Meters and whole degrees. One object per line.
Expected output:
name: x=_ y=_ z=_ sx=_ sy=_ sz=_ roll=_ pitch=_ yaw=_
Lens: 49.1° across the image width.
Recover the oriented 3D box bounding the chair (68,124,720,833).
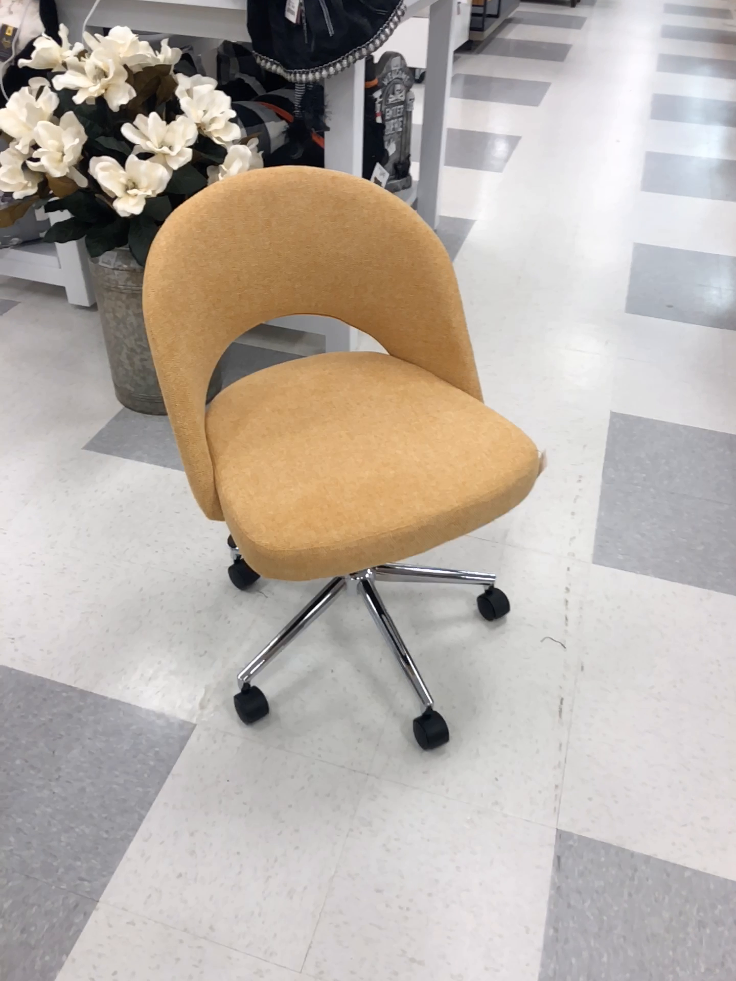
chair: x=-0.012 y=-0.061 z=1.263 sx=0.583 sy=0.749 sz=0.637 roll=-20 pitch=44 yaw=-25
